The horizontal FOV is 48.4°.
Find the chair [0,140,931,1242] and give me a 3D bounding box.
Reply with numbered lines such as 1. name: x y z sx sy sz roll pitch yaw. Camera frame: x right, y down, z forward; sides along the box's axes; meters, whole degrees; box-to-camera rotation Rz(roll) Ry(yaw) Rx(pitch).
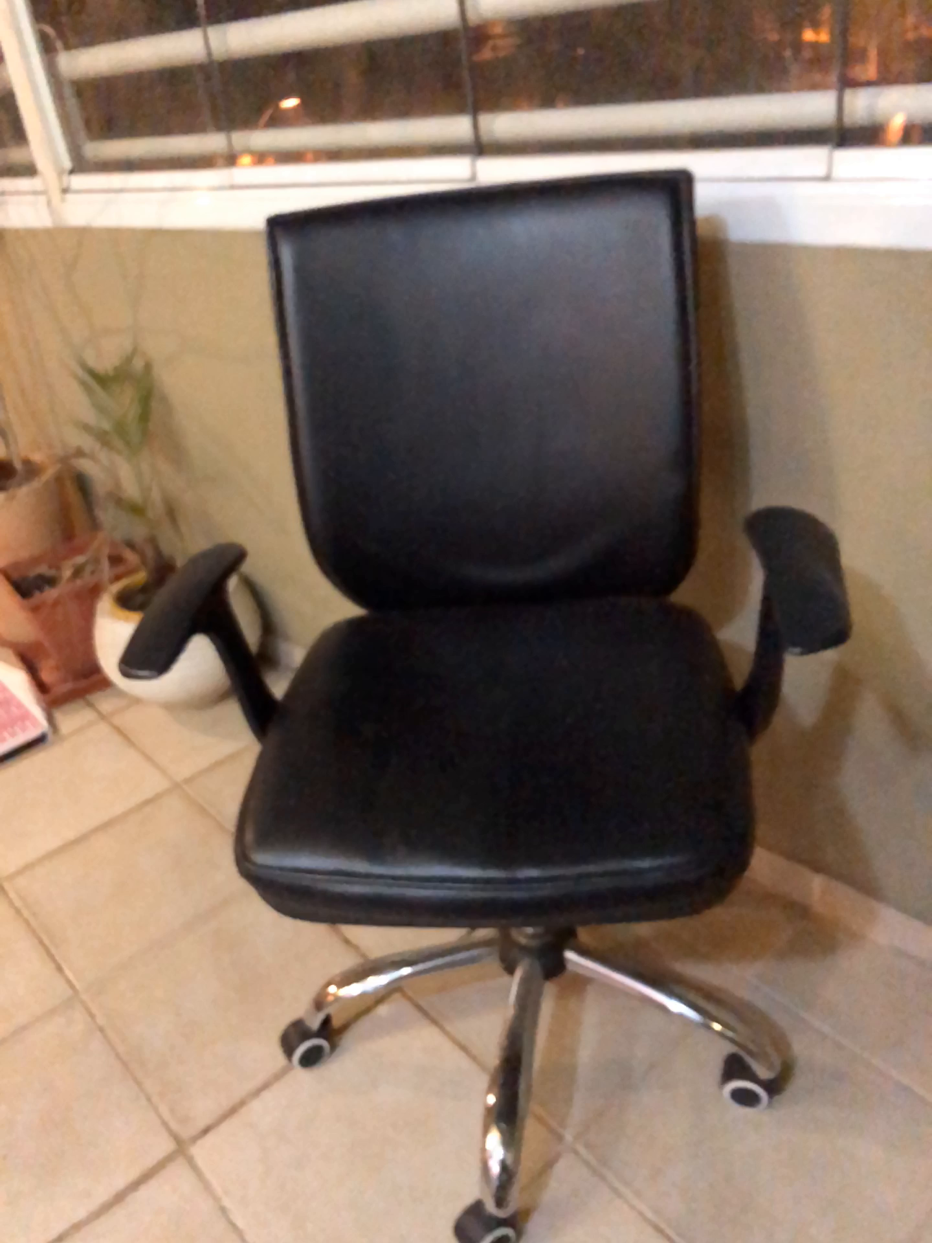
1. chair: 0.024 0.080 1.089 0.660 0.933 0.665 -2 30 11
